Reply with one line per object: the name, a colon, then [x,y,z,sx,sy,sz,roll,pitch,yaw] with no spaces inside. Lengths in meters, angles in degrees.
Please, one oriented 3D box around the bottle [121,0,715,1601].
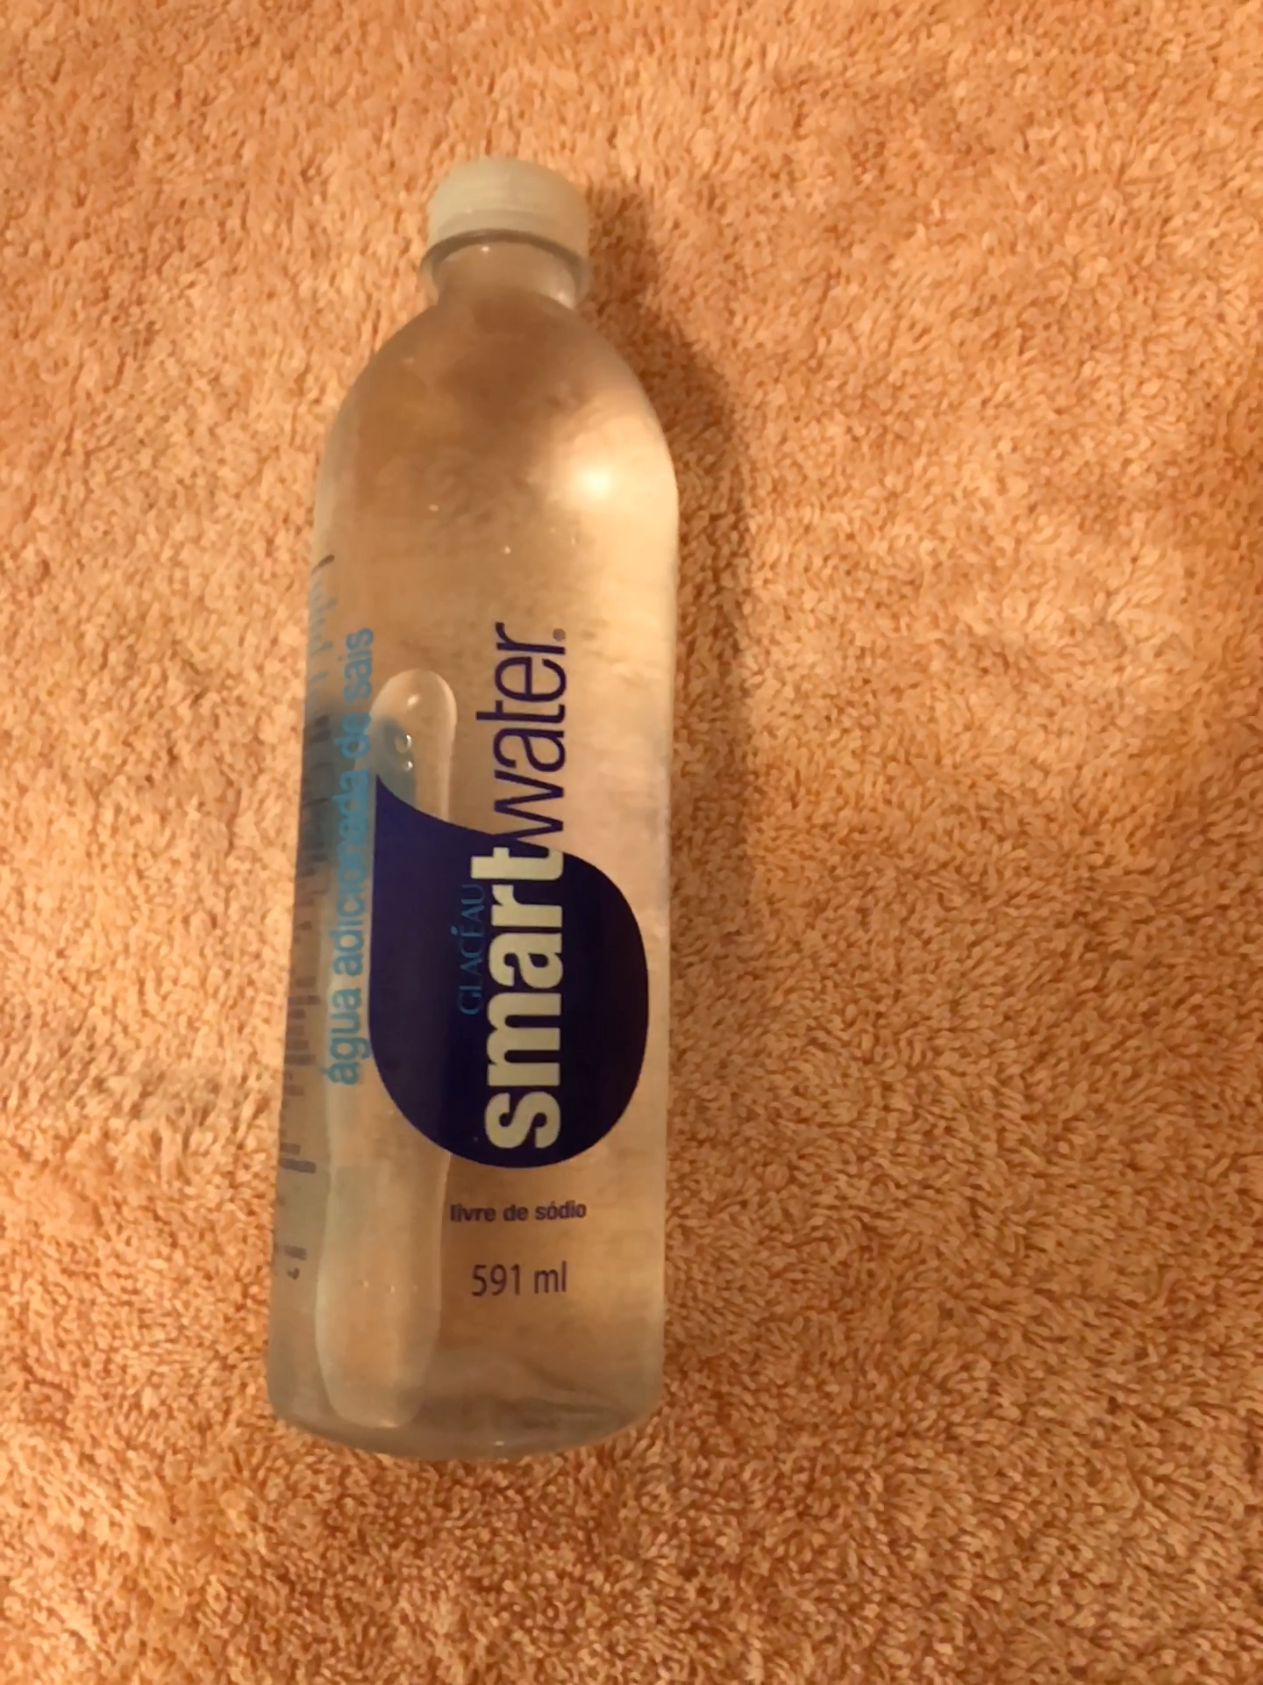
bottle: [-0.032,-0.010,0.232,0.080,0.050,0.230,-2,85,12]
